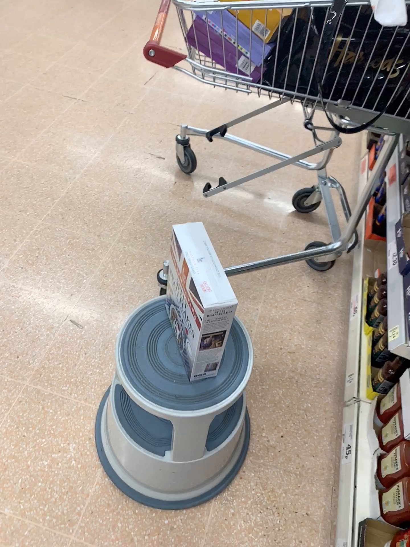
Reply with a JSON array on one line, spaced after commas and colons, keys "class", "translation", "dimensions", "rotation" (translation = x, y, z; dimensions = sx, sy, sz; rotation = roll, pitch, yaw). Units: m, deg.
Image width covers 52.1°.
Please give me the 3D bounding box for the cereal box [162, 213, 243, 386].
[{"class": "cereal box", "translation": [-0.020, 0.054, 0.787], "dimensions": [0.070, 0.258, 0.202], "rotation": [-9, 52, -16]}]
